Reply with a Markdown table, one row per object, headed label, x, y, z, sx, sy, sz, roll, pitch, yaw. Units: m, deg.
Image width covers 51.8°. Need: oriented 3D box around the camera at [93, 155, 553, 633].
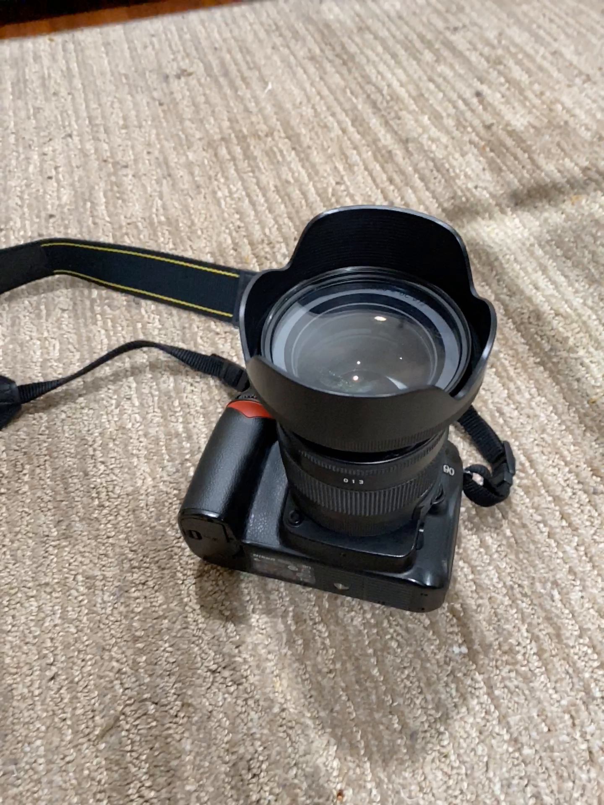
| label | x | y | z | sx | sy | sz | roll | pitch | yaw |
| --- | --- | --- | --- | --- | --- | --- | --- | --- | --- |
| camera | 0.017 | 0.003 | 0.281 | 0.138 | 0.165 | 0.114 | 11 | 52 | 9 |
